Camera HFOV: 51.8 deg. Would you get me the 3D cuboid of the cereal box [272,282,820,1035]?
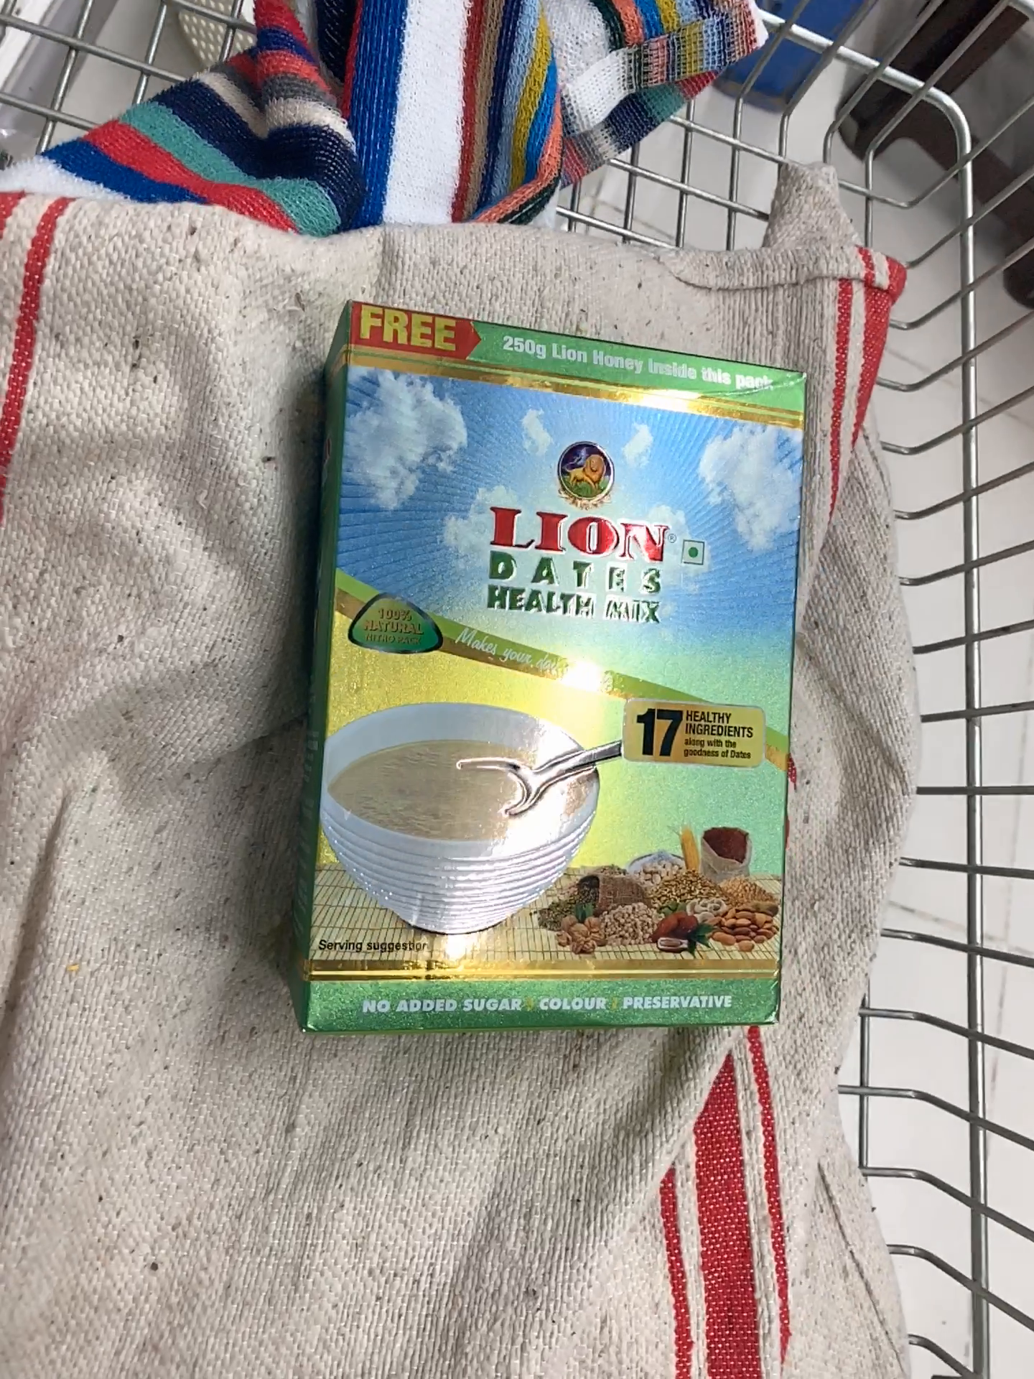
[{"bbox_3d":[0.003,-0.003,0.328,0.140,0.090,0.190,4,87,-15],"label":"cereal box"}]
